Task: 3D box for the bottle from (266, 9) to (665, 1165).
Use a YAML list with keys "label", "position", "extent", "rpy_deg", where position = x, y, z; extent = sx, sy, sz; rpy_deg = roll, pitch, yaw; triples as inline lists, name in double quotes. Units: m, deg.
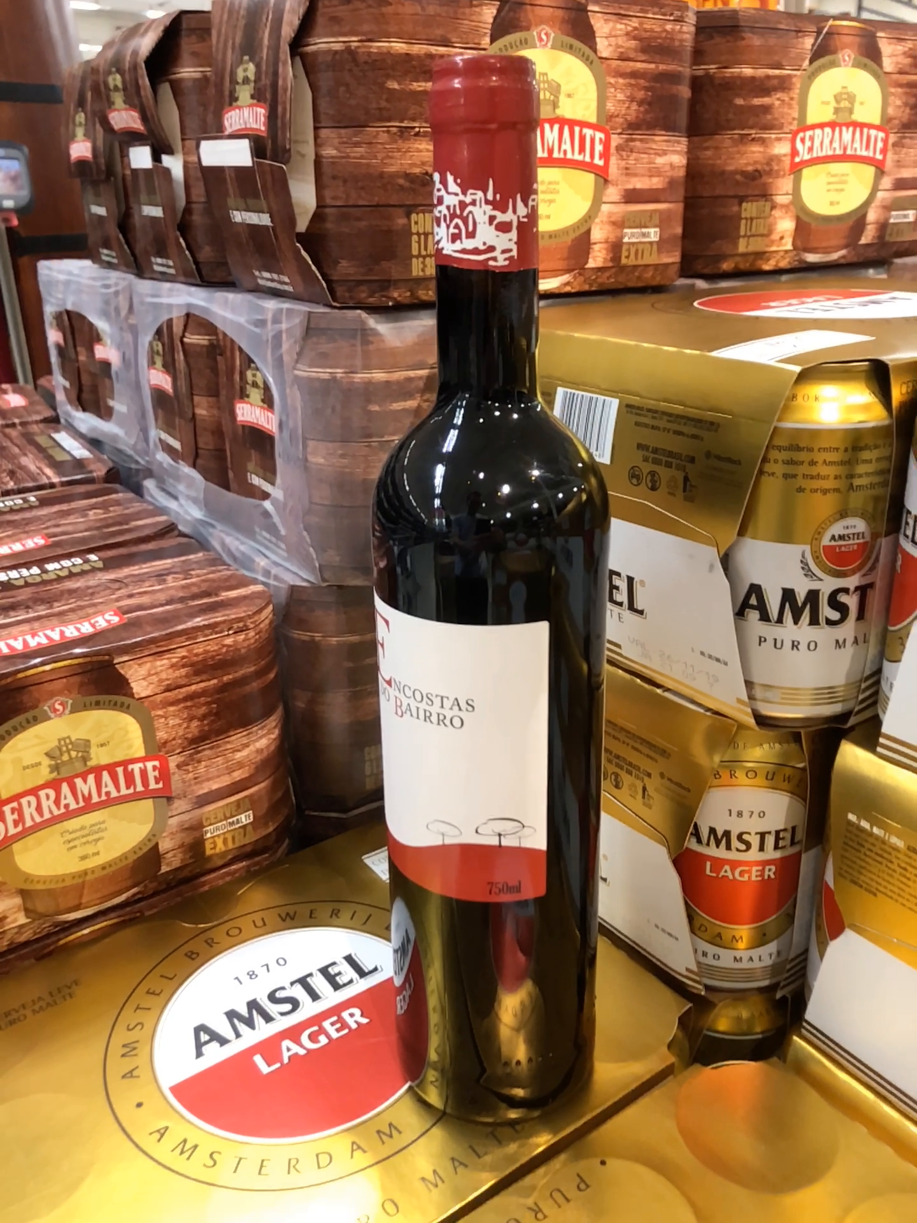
- label: "bottle"
  position: [0.006, 0.008, 0.308]
  extent: [0.070, 0.318, 0.070]
  rpy_deg: [-1, 21, 1]
